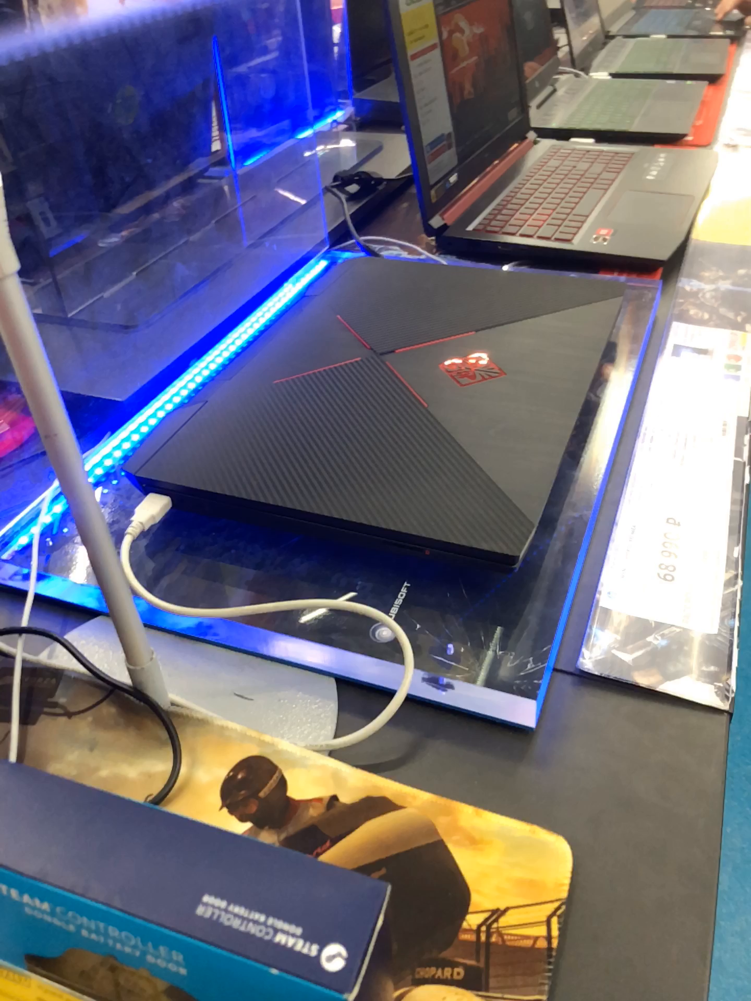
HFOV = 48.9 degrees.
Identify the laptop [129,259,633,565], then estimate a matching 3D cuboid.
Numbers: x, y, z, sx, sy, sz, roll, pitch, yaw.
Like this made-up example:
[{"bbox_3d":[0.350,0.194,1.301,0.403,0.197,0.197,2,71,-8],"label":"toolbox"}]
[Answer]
[{"bbox_3d":[0.031,-0.093,0.583,0.237,0.003,0.351,12,41,19],"label":"laptop"}]
